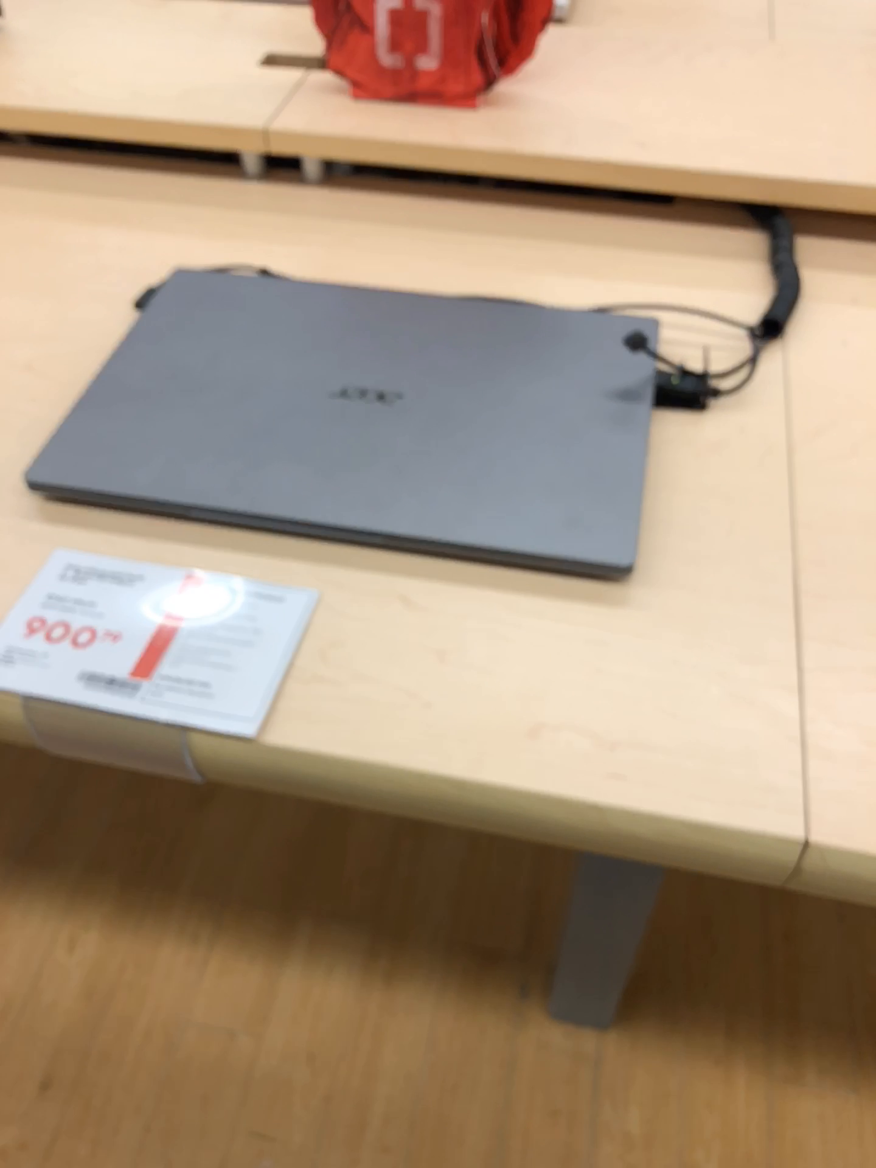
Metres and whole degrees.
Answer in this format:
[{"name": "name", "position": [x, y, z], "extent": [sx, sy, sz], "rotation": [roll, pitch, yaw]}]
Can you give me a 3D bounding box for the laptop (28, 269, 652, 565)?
[{"name": "laptop", "position": [-0.041, -0.106, 0.552], "extent": [0.306, 0.001, 0.201], "rotation": [9, 49, 8]}]
